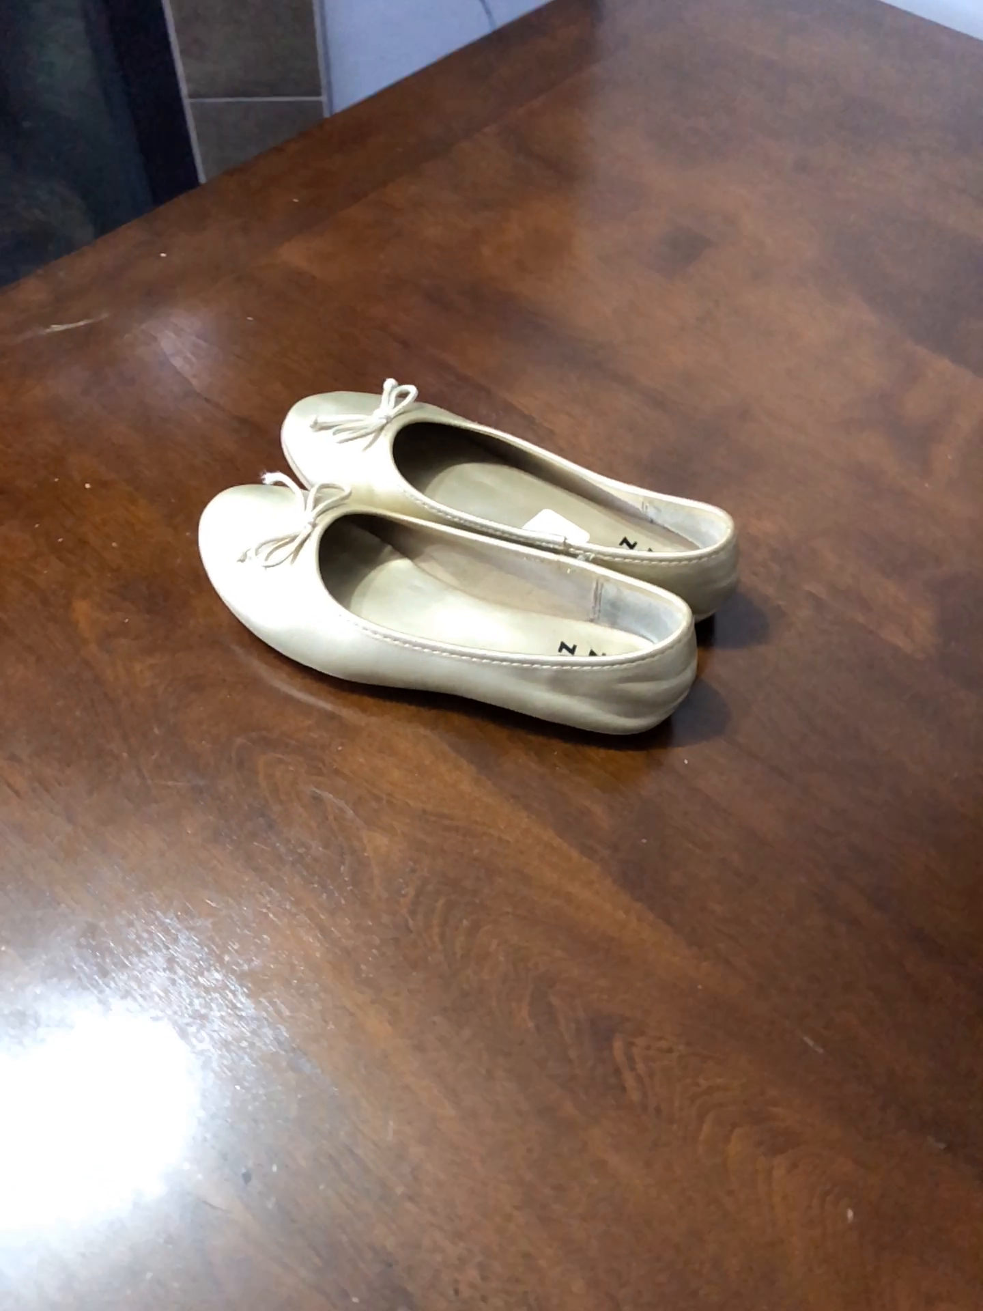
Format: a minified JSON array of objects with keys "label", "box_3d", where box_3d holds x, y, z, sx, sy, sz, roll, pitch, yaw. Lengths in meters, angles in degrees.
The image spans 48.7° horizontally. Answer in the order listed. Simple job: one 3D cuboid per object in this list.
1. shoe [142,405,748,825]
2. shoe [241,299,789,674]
[{"label":"shoe","box_3d":[-0.020,-0.021,0.471,0.230,0.070,0.090,20,56,11]},{"label":"shoe","box_3d":[0.008,-0.082,0.509,0.230,0.070,0.080,22,57,13]}]
